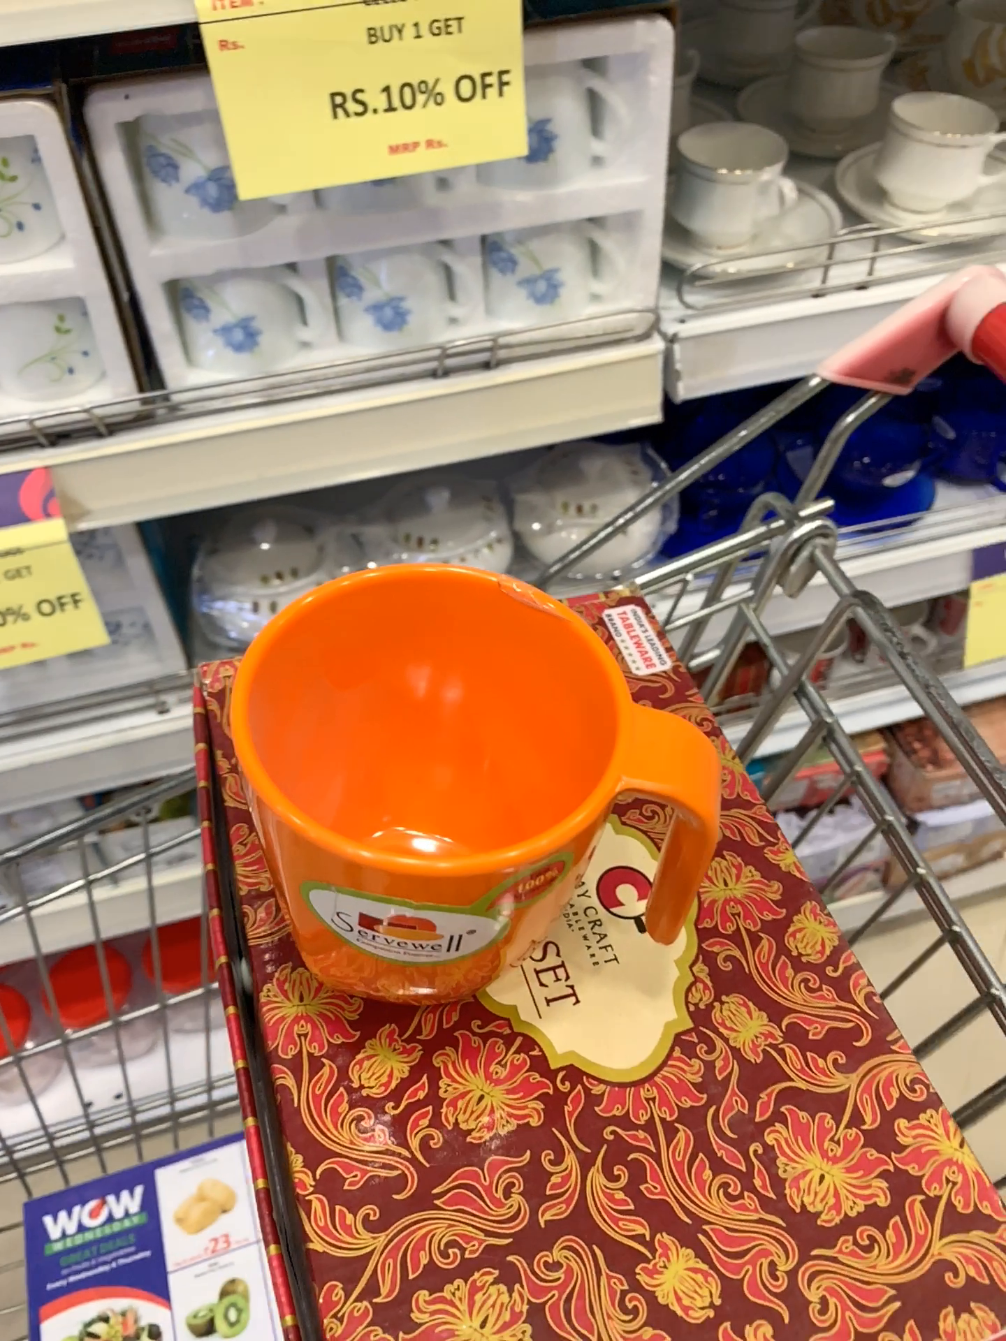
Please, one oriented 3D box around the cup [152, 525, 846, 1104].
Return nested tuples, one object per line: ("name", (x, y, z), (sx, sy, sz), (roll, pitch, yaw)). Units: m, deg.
("cup", (0.001, 0.030, 0.216), (0.110, 0.070, 0.080), (8, 50, 0))
